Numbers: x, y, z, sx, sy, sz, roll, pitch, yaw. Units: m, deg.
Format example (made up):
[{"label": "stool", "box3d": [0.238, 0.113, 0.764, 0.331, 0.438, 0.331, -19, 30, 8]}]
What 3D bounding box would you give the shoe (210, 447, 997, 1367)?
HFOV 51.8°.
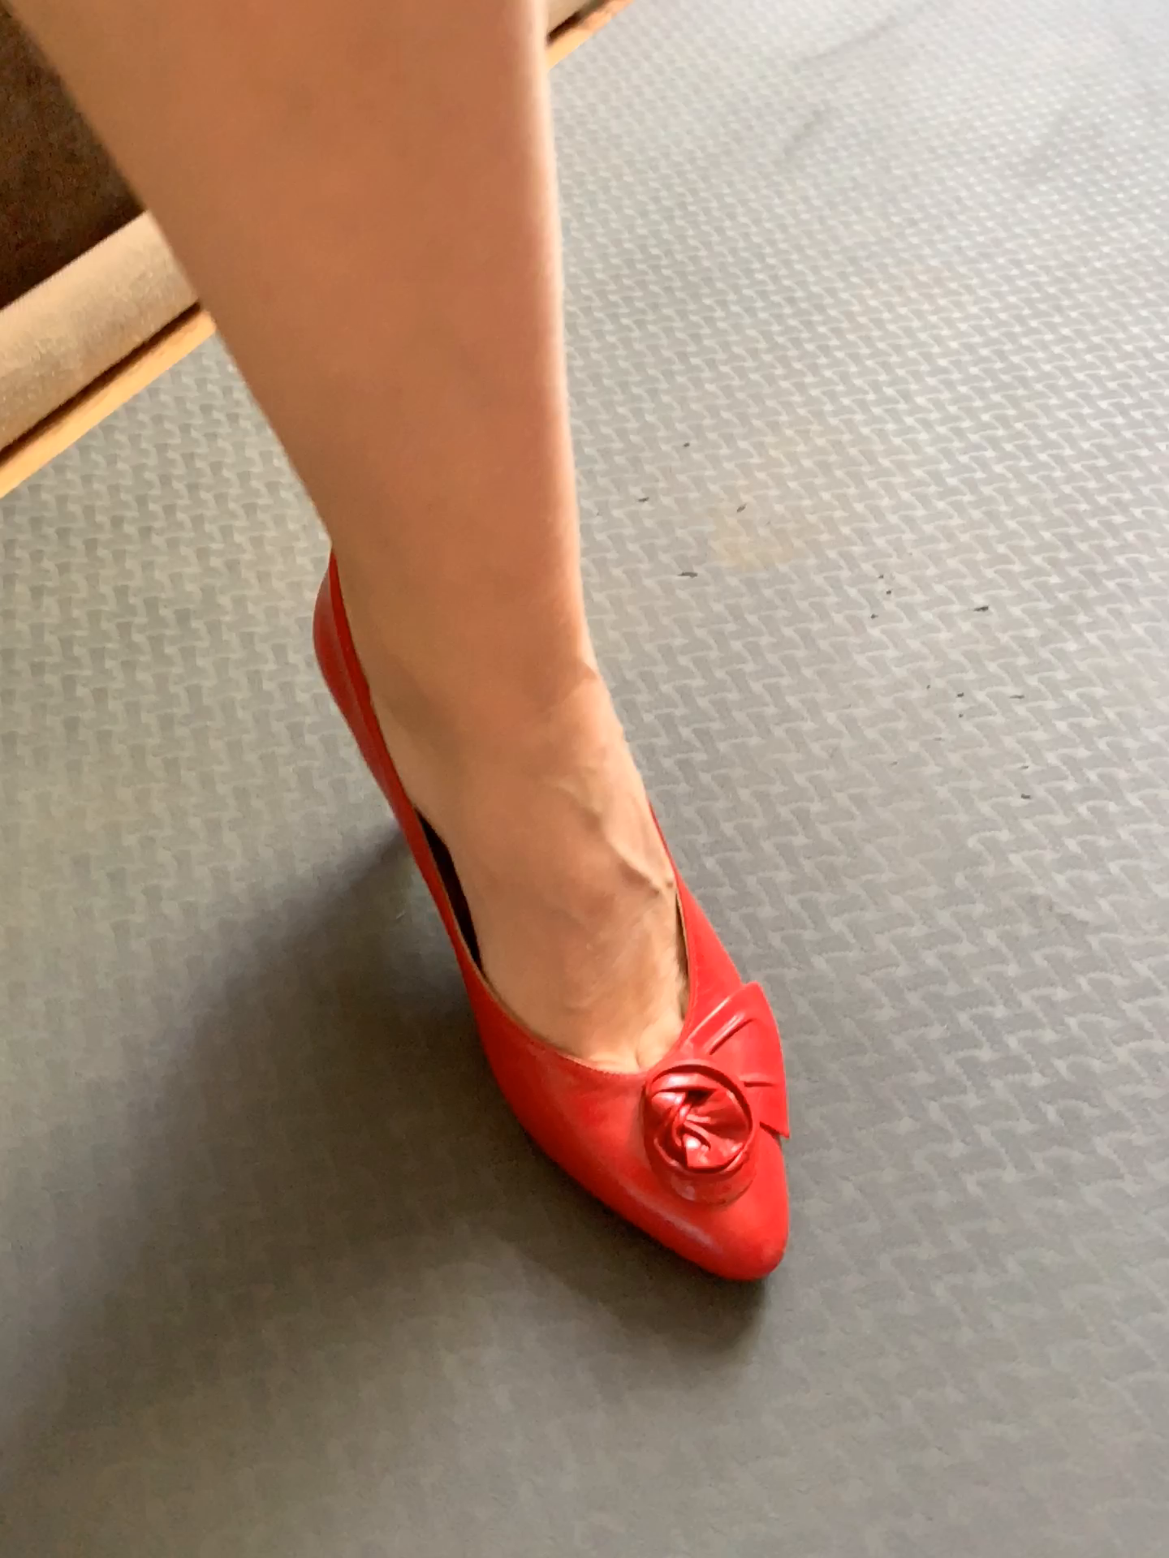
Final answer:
[{"label": "shoe", "box3d": [-0.008, 0.025, 0.322, 0.080, 0.110, 0.211, -28, 57, -18]}]
